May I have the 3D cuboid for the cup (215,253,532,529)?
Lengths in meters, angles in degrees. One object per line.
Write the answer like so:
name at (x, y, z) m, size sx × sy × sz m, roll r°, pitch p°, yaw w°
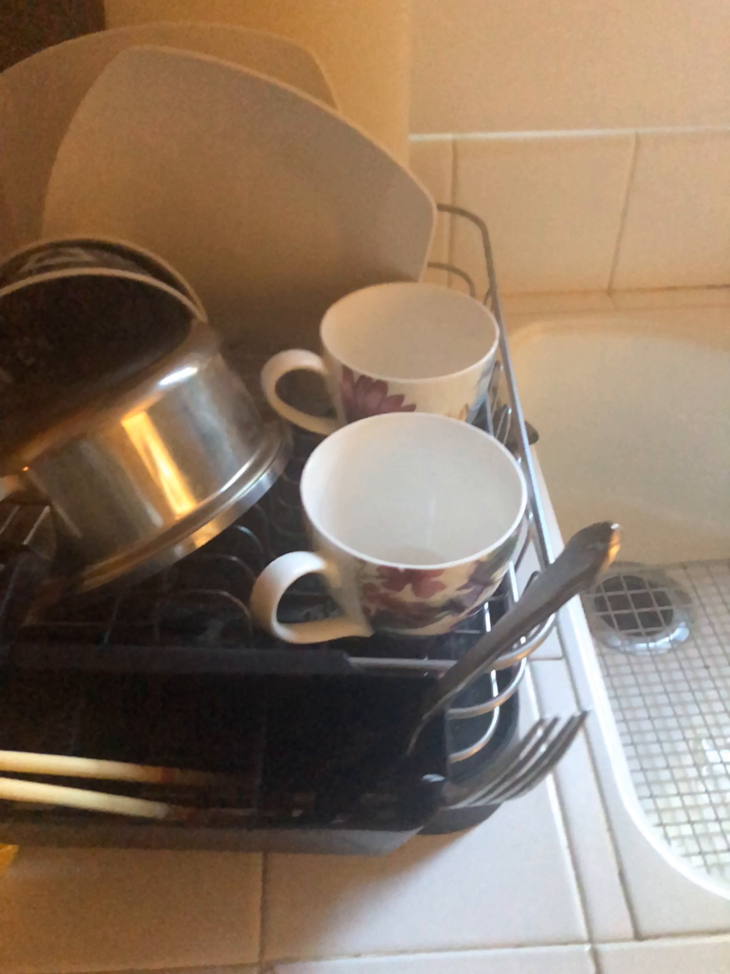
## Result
cup at (0.004, -0.067, 0.523) m, size 0.160 × 0.089 × 0.111 m, roll -20°, pitch 47°, yaw -17°

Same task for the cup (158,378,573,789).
cup at (0.003, 0.039, 0.409) m, size 0.161 × 0.089 × 0.110 m, roll -33°, pitch 52°, yaw -28°
